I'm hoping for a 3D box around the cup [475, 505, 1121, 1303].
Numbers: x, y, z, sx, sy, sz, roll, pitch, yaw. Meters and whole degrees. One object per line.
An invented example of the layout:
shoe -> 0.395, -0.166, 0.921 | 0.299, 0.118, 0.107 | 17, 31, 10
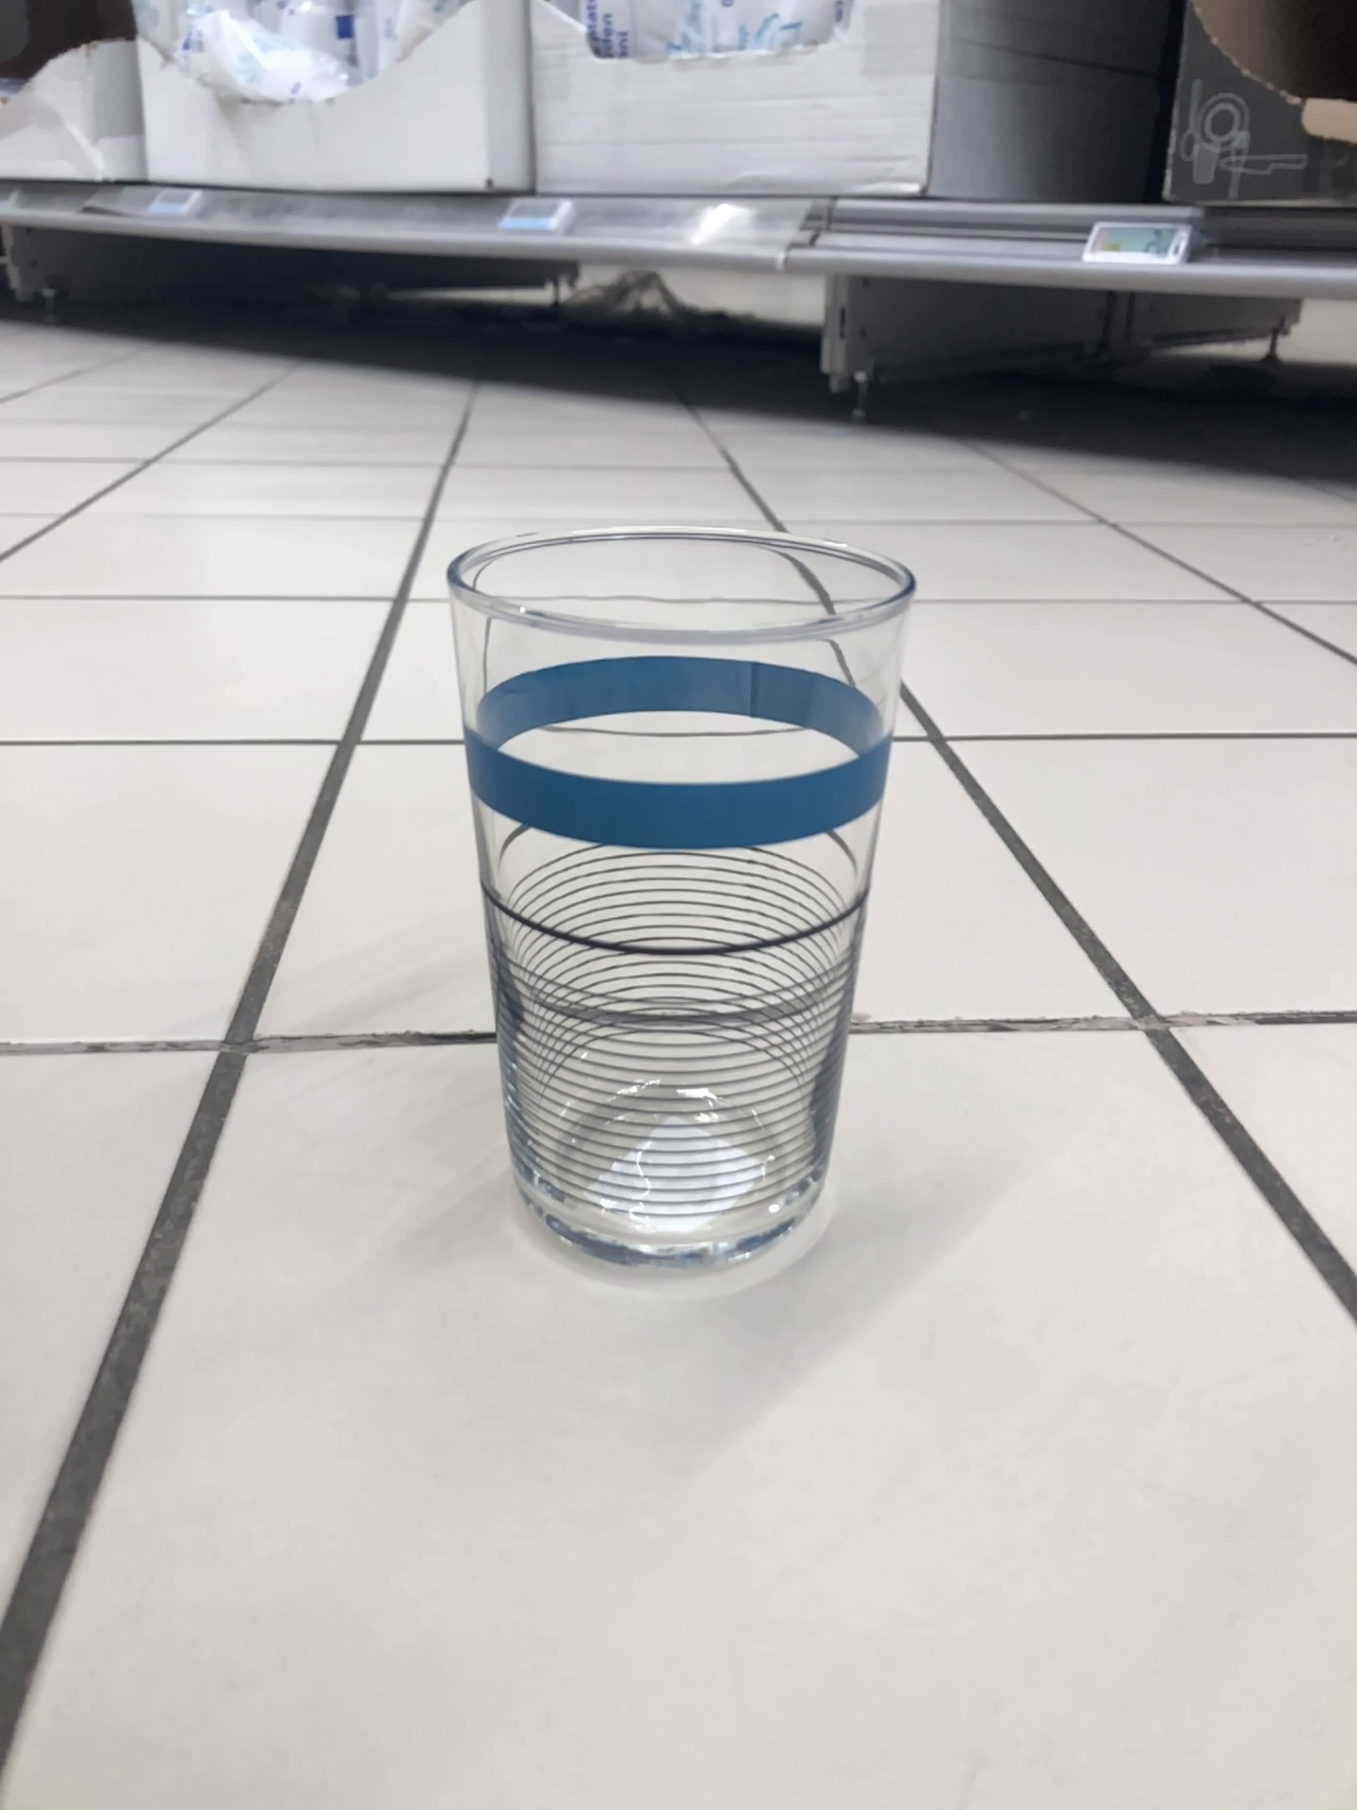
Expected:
cup -> 0.012, -0.005, 0.239 | 0.079, 0.102, 0.080 | 1, 23, -1
